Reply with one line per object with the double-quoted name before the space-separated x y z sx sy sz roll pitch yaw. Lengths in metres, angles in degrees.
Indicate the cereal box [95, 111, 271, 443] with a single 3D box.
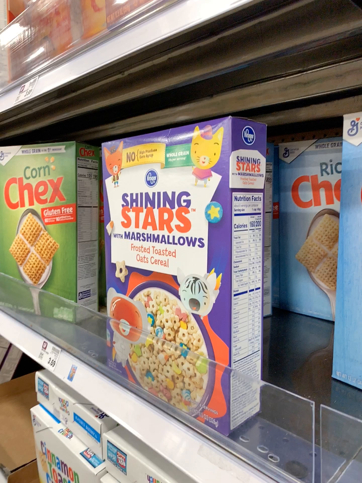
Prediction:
"cereal box" -0.009 0.026 0.387 0.200 0.270 0.050 5 7 45
